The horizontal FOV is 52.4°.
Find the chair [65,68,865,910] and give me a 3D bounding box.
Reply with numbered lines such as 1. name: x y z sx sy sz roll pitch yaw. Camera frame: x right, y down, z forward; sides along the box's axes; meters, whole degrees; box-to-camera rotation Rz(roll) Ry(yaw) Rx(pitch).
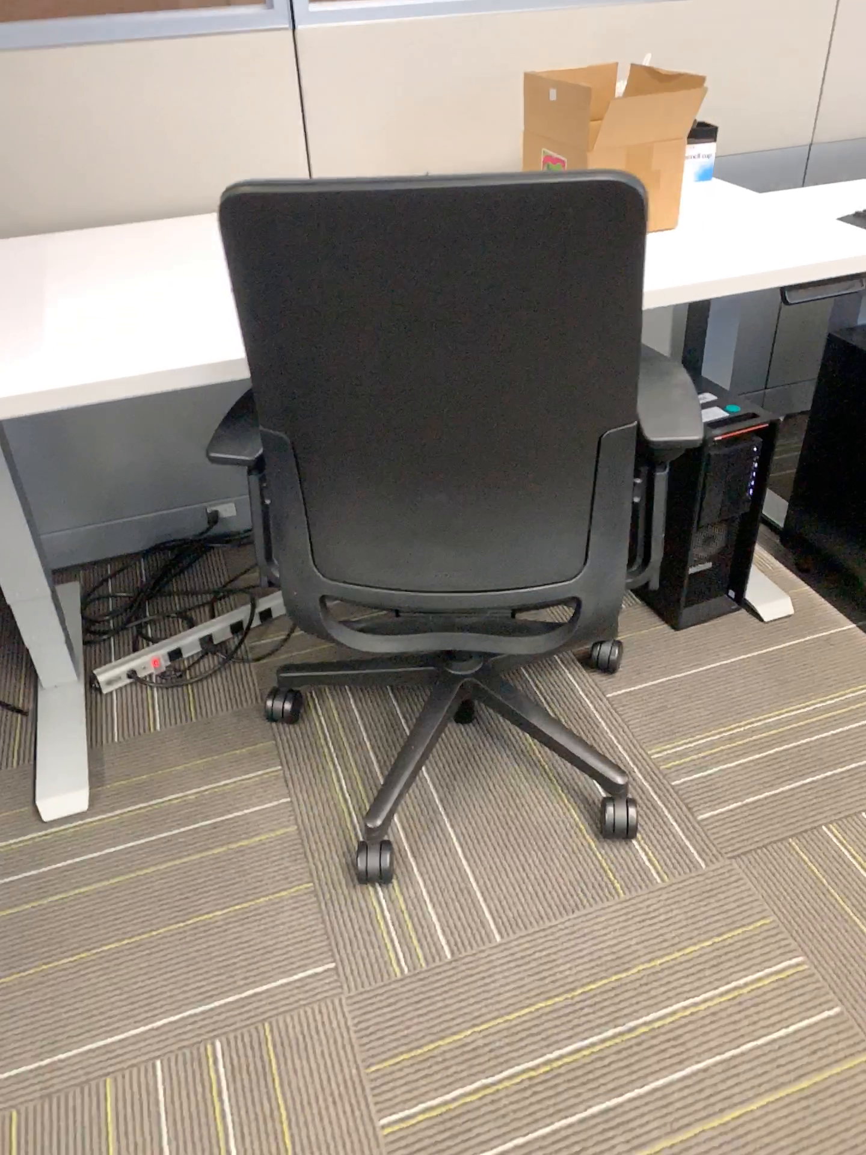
1. chair: 0.026 -0.162 1.311 0.700 0.934 0.755 -6 35 -4
